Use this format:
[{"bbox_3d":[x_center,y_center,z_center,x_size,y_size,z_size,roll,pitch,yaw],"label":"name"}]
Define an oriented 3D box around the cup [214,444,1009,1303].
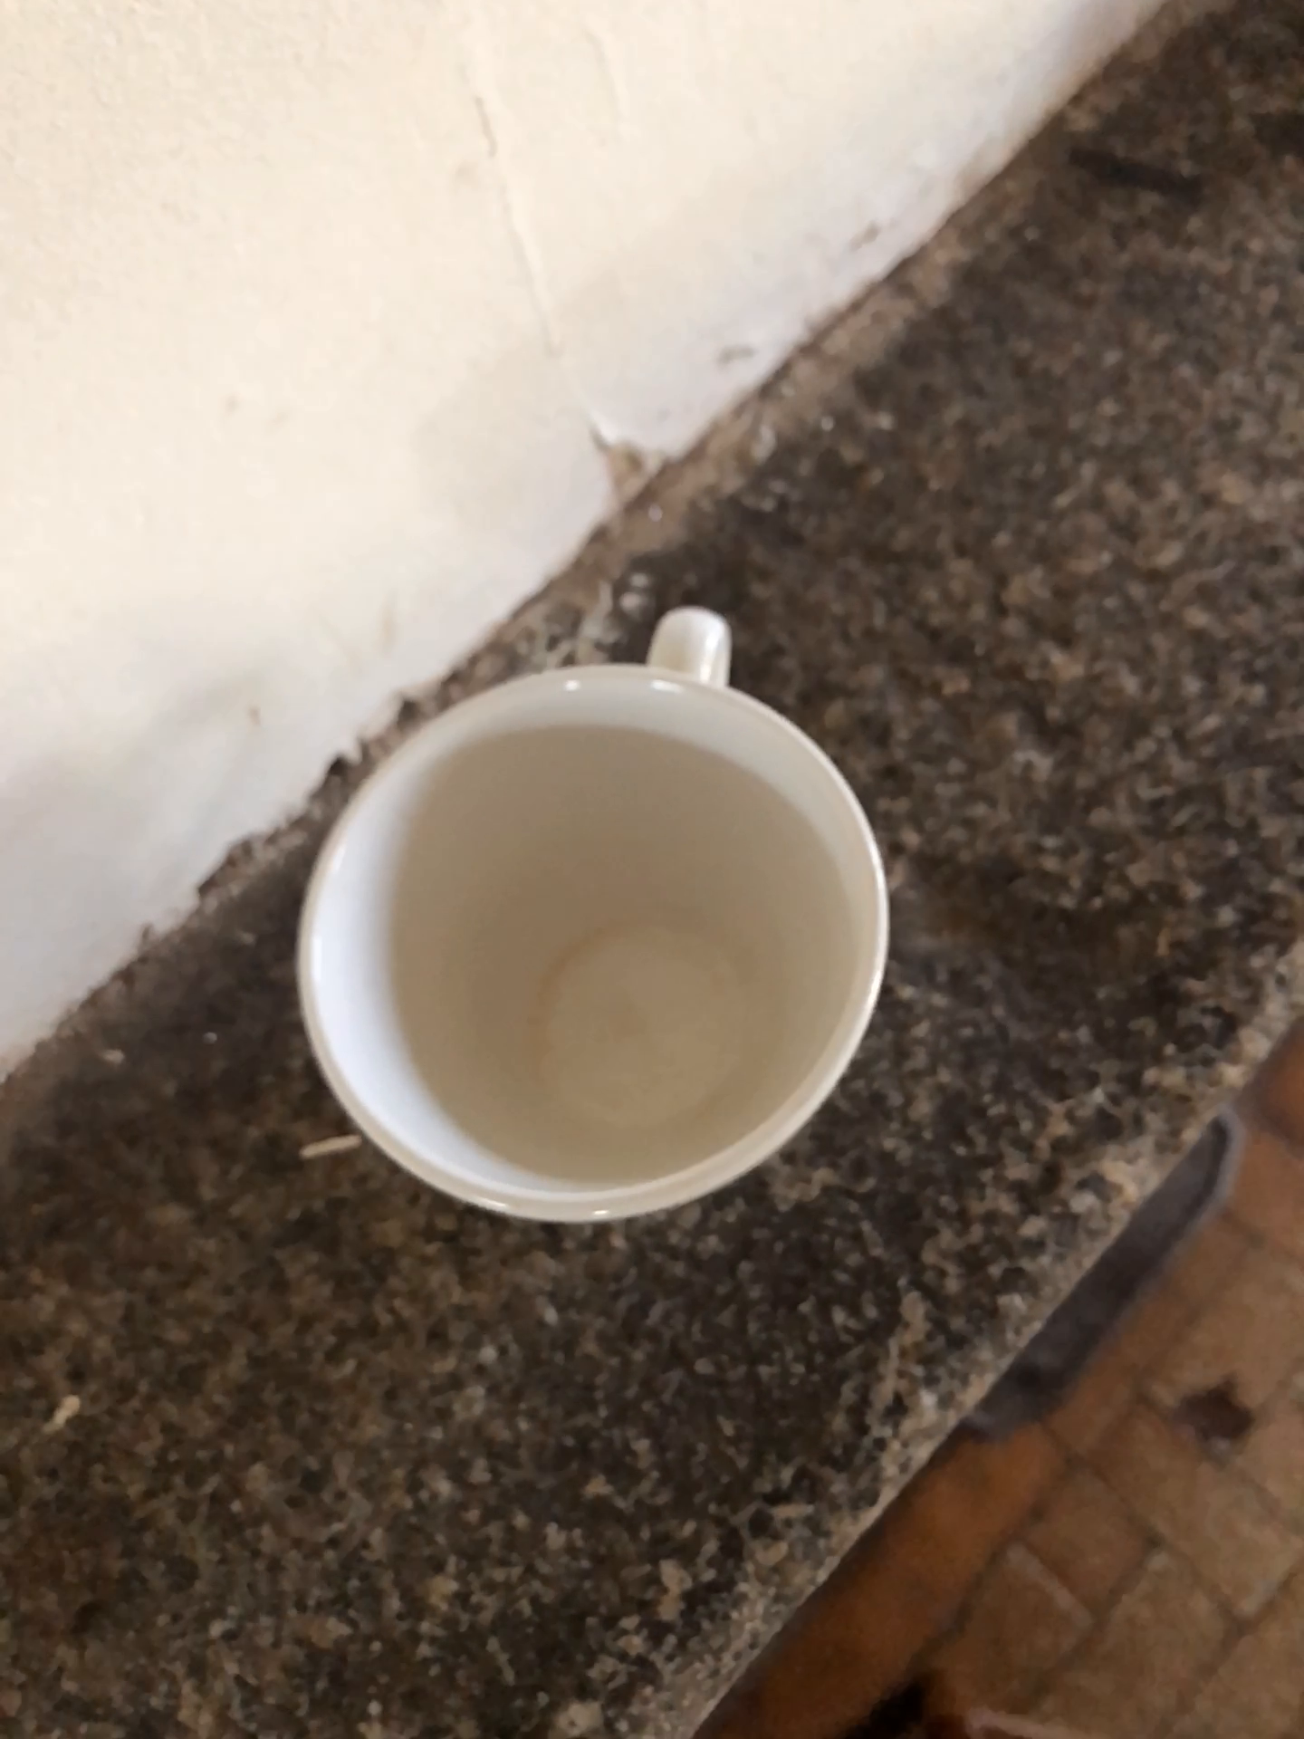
[{"bbox_3d":[0.000,-0.001,0.216,0.080,0.050,0.100,12,69,14],"label":"cup"}]
